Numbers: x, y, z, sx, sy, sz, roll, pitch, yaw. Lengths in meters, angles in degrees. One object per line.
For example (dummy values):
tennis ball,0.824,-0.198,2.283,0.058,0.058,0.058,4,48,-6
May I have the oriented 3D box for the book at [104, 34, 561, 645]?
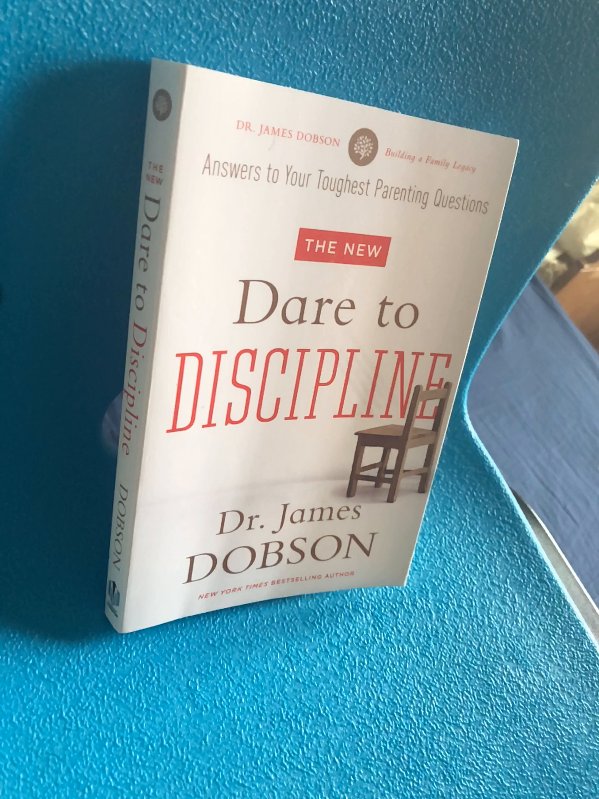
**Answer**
book,0.009,-0.013,0.262,0.150,0.199,0.040,-1,20,-28
